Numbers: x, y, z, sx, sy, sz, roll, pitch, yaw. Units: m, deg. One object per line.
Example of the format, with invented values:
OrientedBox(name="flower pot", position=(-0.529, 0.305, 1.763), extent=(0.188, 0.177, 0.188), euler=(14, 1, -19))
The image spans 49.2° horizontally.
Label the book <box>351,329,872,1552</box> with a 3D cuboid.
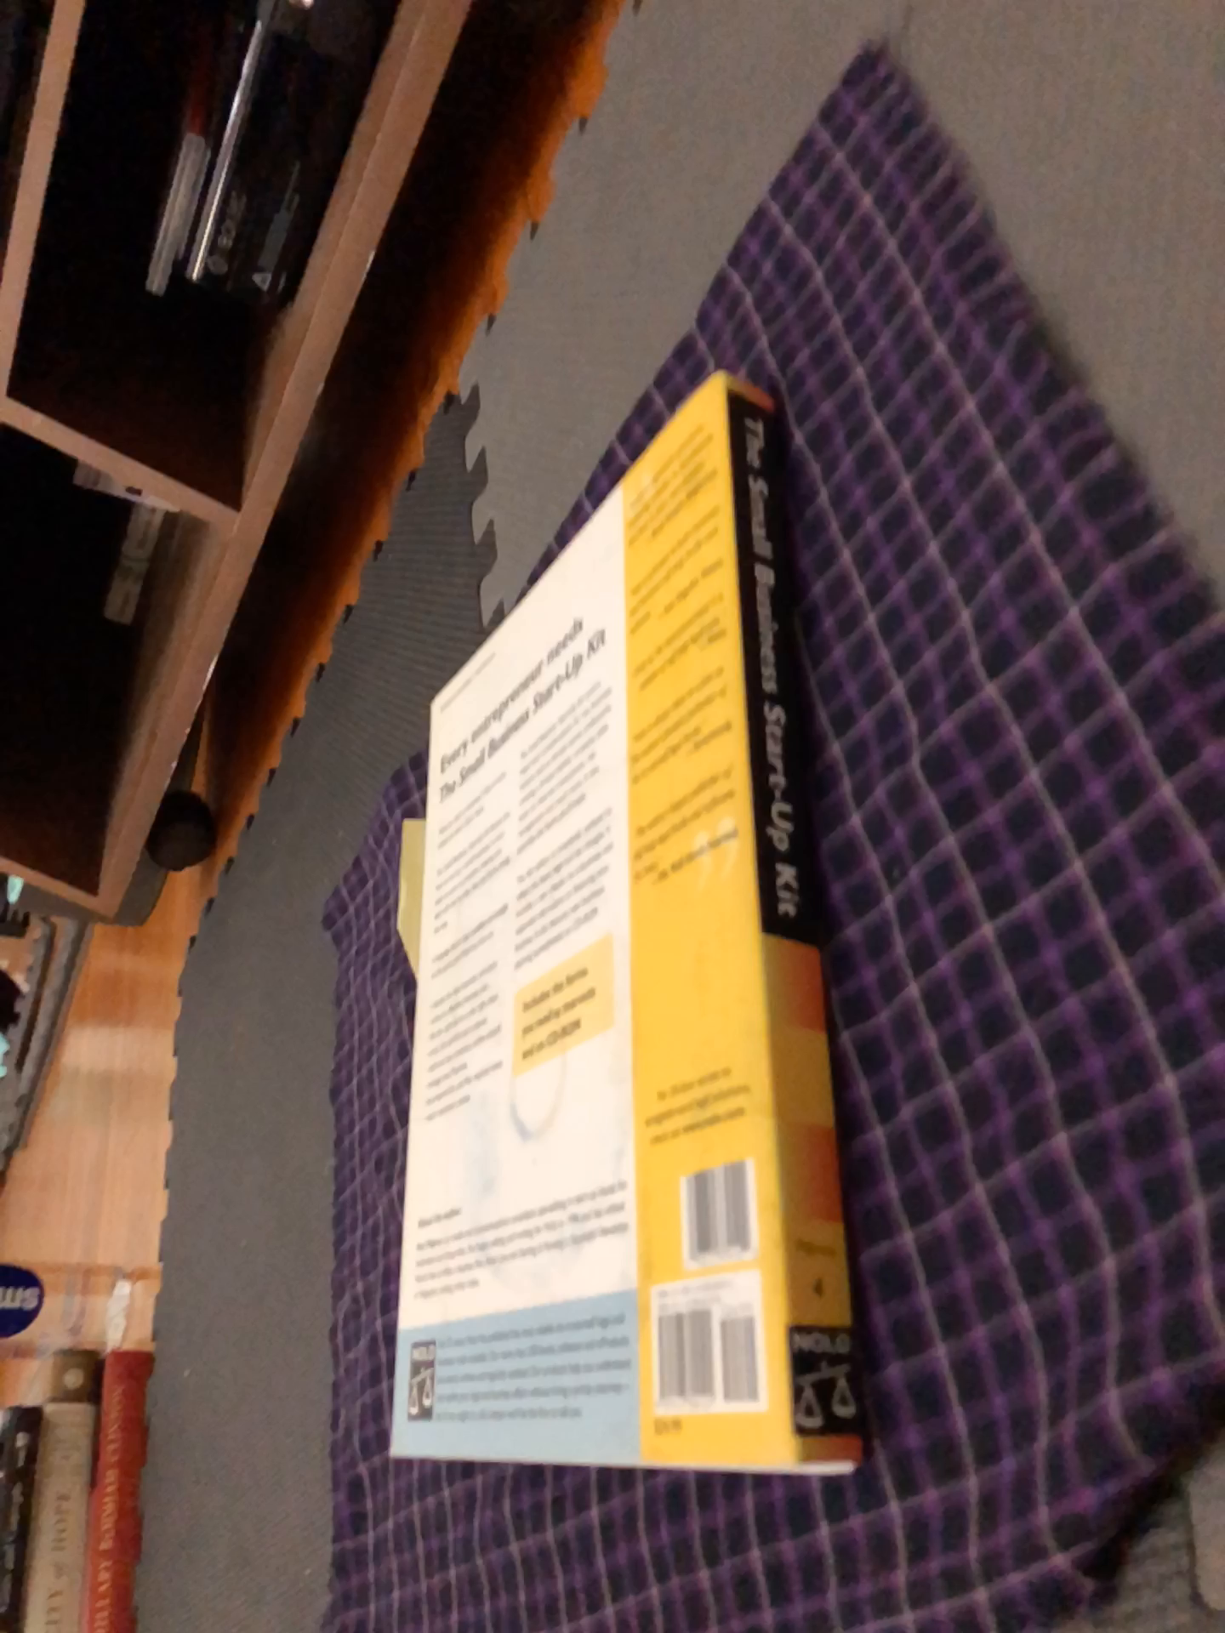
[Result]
OrientedBox(name="book", position=(-0.017, 0.045, 0.420), extent=(0.231, 0.030, 0.311), euler=(-37, 47, 53))
